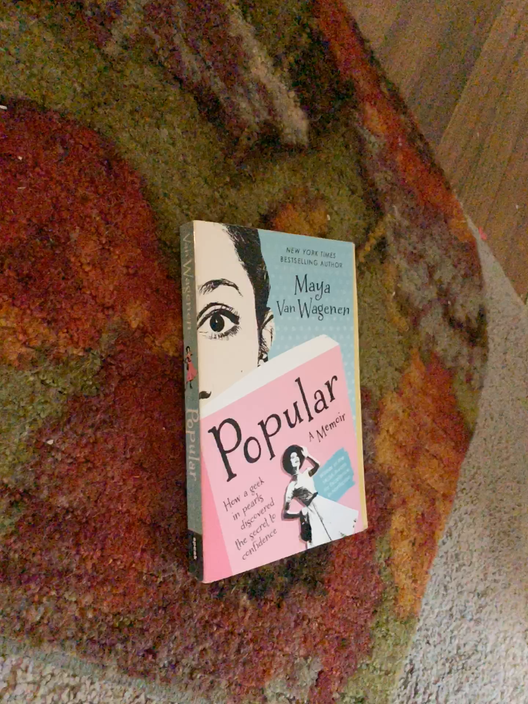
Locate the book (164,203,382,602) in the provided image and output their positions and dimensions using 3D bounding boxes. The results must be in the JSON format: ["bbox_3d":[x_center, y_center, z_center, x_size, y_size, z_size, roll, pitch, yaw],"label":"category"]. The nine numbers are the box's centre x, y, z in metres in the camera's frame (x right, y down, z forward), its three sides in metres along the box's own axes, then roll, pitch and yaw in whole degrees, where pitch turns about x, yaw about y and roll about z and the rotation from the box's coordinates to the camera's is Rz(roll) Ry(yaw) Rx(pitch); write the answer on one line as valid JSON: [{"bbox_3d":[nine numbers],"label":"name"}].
[{"bbox_3d":[0.013,0.026,0.359,0.151,0.030,0.220,-2,90,-39],"label":"book"}]
